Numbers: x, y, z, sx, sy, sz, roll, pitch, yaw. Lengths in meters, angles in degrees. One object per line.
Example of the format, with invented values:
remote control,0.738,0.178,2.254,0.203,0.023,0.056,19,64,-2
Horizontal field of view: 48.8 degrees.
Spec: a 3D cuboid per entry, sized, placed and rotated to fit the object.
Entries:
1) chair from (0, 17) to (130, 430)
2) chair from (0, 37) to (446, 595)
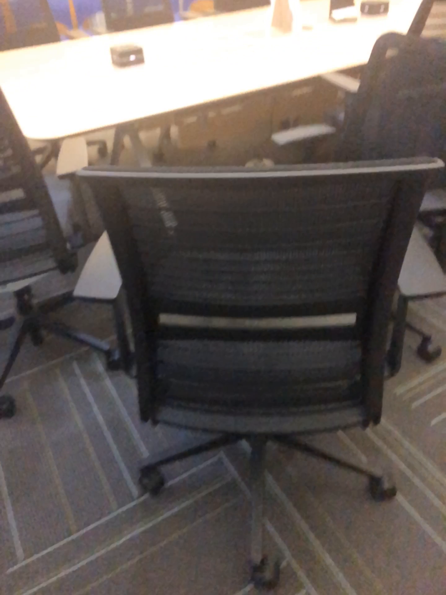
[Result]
chair,-0.751,-0.247,1.545,0.731,0.961,0.726,-9,38,-6
chair,0.078,0.055,1.079,0.720,0.961,0.717,-2,37,4
